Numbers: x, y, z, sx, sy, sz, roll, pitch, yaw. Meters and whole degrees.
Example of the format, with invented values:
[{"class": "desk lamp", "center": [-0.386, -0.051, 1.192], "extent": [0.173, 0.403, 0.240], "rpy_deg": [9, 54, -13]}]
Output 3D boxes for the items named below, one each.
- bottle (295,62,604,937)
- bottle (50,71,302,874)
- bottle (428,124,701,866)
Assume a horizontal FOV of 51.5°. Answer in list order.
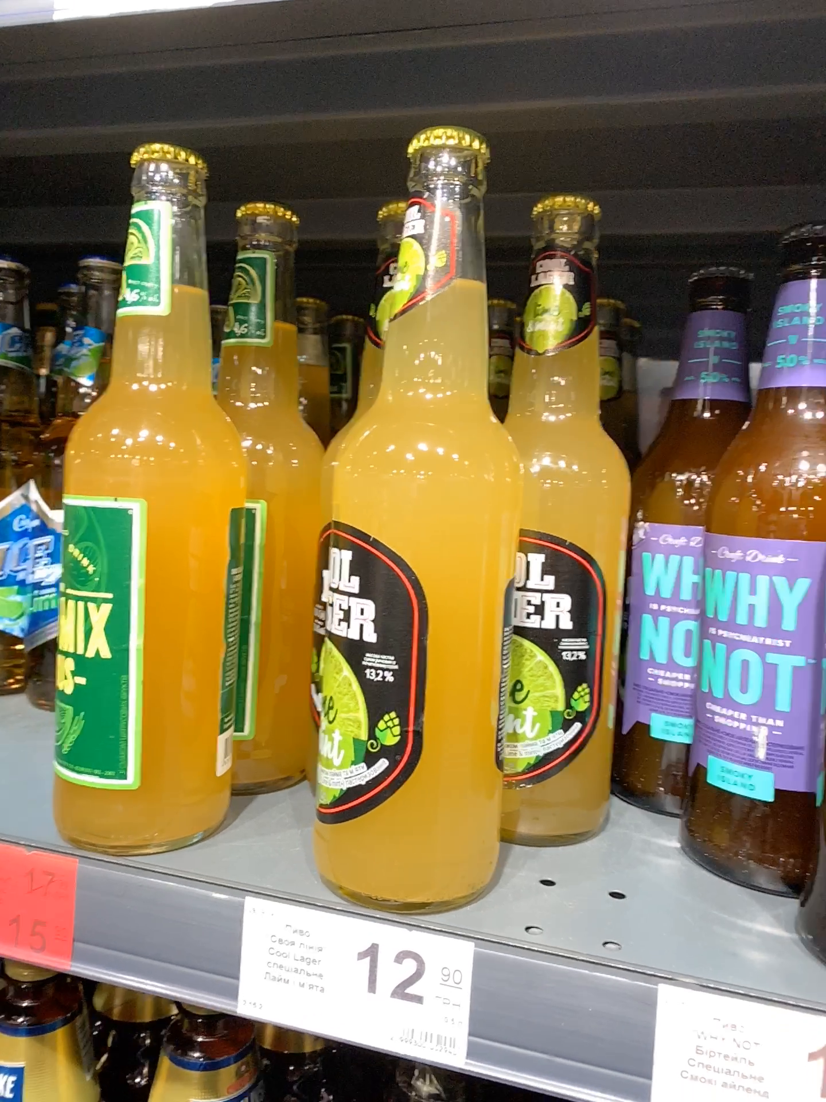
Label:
[{"class": "bottle", "center": [0.009, -0.014, 0.284], "extent": [0.065, 0.244, 0.063], "rpy_deg": [3, 4, 0]}, {"class": "bottle", "center": [-0.094, -0.026, 0.327], "extent": [0.064, 0.260, 0.078], "rpy_deg": [0, 5, -35]}, {"class": "bottle", "center": [0.059, -0.019, 0.345], "extent": [0.069, 0.260, 0.063], "rpy_deg": [3, 4, 0]}]
